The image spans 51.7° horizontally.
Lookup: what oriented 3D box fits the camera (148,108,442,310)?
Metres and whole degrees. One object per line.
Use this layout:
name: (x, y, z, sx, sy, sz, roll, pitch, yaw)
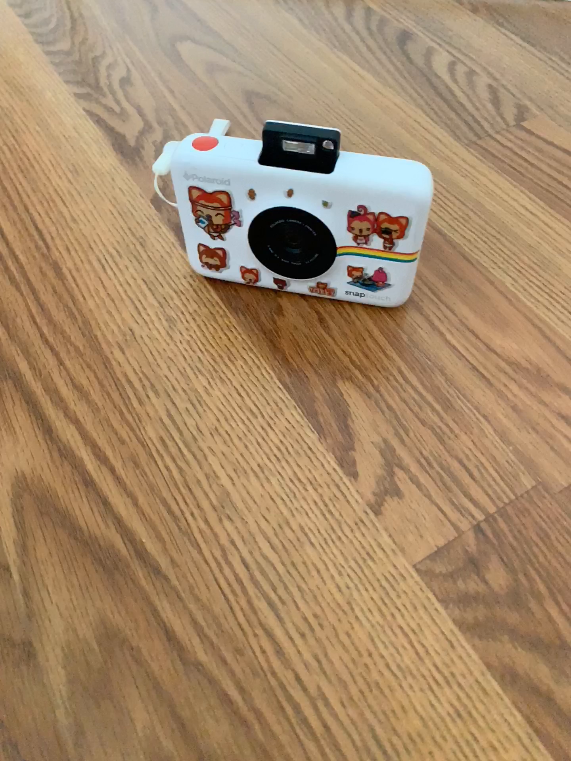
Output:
camera: (0.005, -0.082, 0.289, 0.125, 0.081, 0.026, 11, 55, 10)
